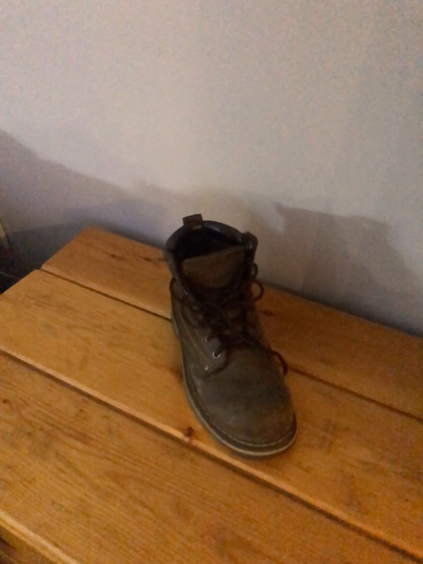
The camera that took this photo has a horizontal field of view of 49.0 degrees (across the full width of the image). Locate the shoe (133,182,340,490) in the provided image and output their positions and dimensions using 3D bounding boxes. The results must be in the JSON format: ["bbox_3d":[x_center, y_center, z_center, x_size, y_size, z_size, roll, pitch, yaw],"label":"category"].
[{"bbox_3d":[0.005,0.044,0.580,0.130,0.189,0.321,-11,42,-13],"label":"shoe"}]
